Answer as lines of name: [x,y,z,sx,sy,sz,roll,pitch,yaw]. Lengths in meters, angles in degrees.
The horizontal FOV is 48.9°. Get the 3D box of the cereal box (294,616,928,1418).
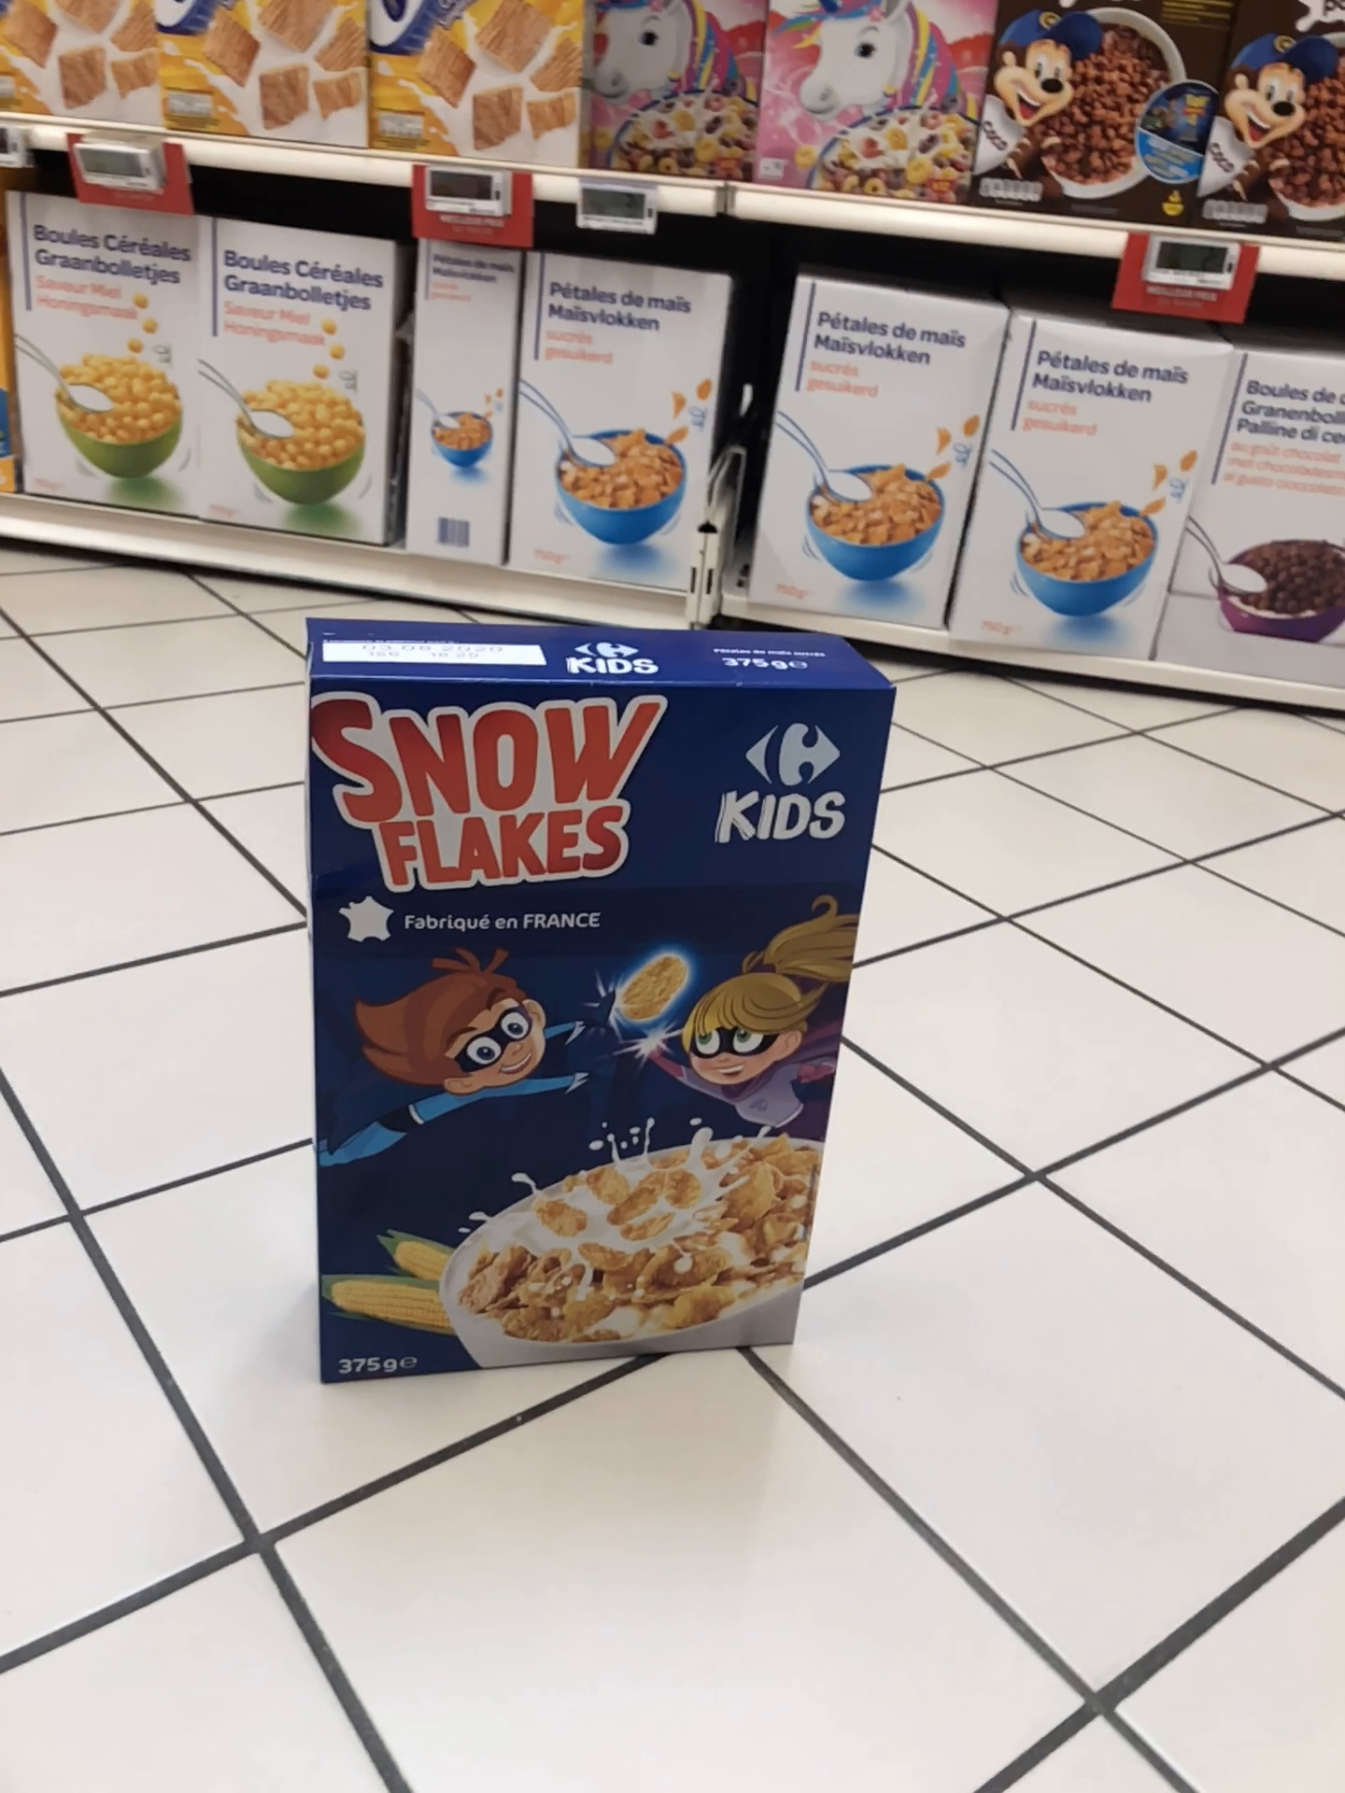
cereal box: [-0.035,0.050,0.557,0.200,0.288,0.080,-1,26,-13]
